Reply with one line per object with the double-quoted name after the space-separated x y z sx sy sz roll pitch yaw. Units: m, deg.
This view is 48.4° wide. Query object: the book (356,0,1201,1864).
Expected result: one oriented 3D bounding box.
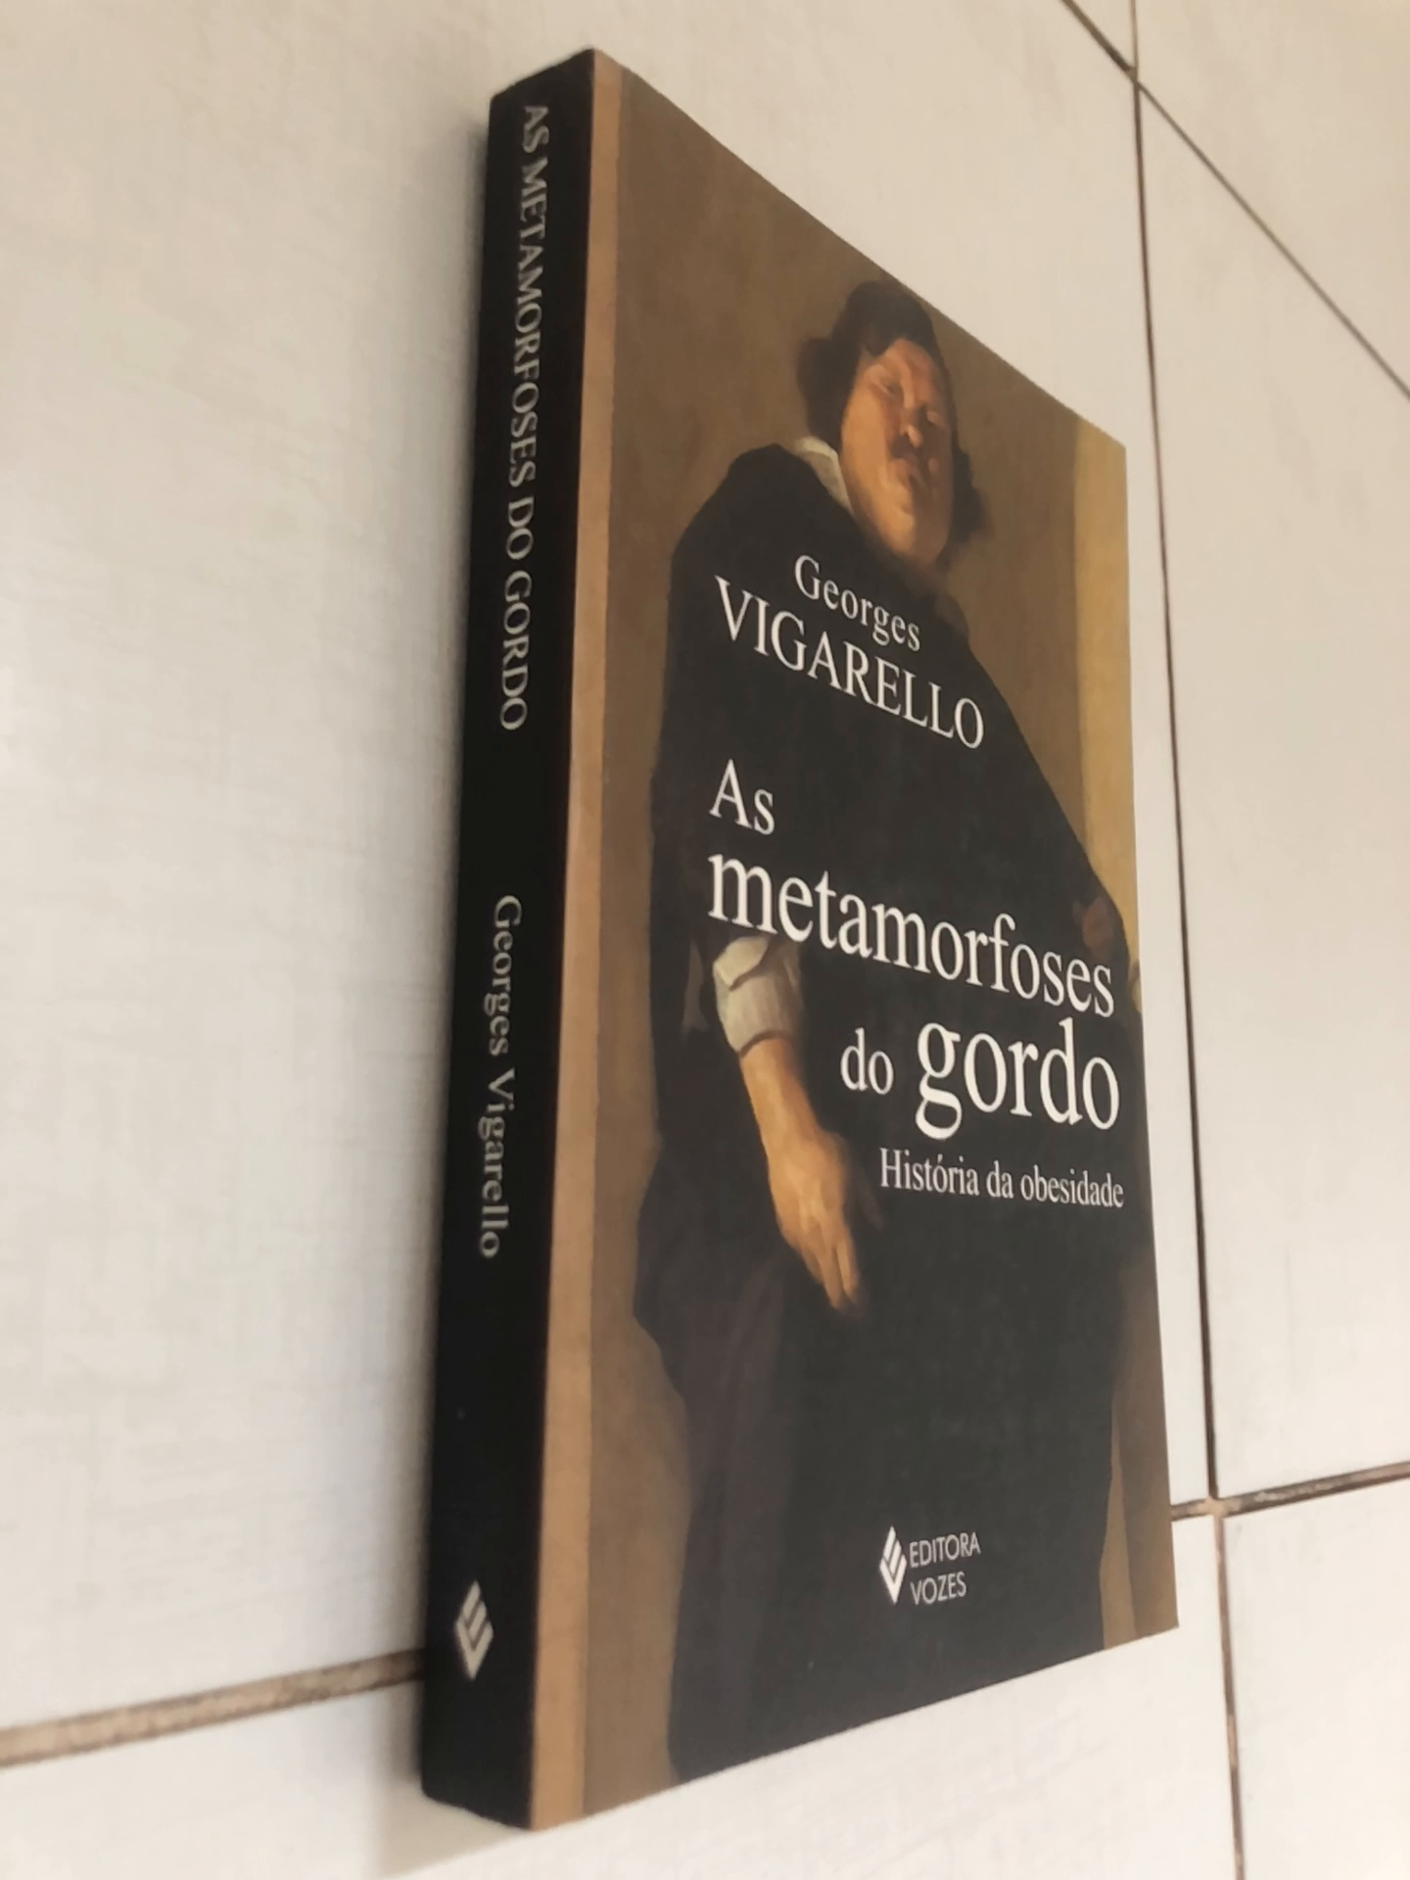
0.022 -0.003 0.222 0.138 0.023 0.204 12 74 -45 "book"
